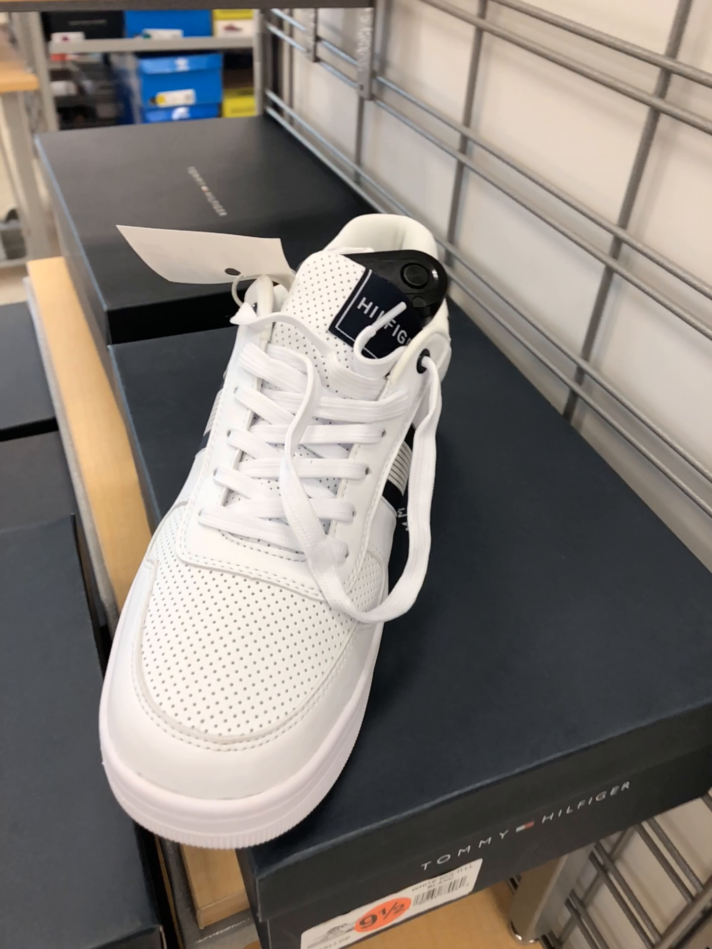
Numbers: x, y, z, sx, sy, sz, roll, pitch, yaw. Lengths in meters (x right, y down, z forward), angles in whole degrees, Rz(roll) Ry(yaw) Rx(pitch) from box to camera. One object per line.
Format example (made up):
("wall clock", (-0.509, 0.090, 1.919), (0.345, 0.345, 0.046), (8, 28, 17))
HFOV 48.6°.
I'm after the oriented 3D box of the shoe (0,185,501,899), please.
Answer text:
("shoe", (-0.020, -0.008, 0.324), (0.110, 0.109, 0.282), (12, 41, 8))
